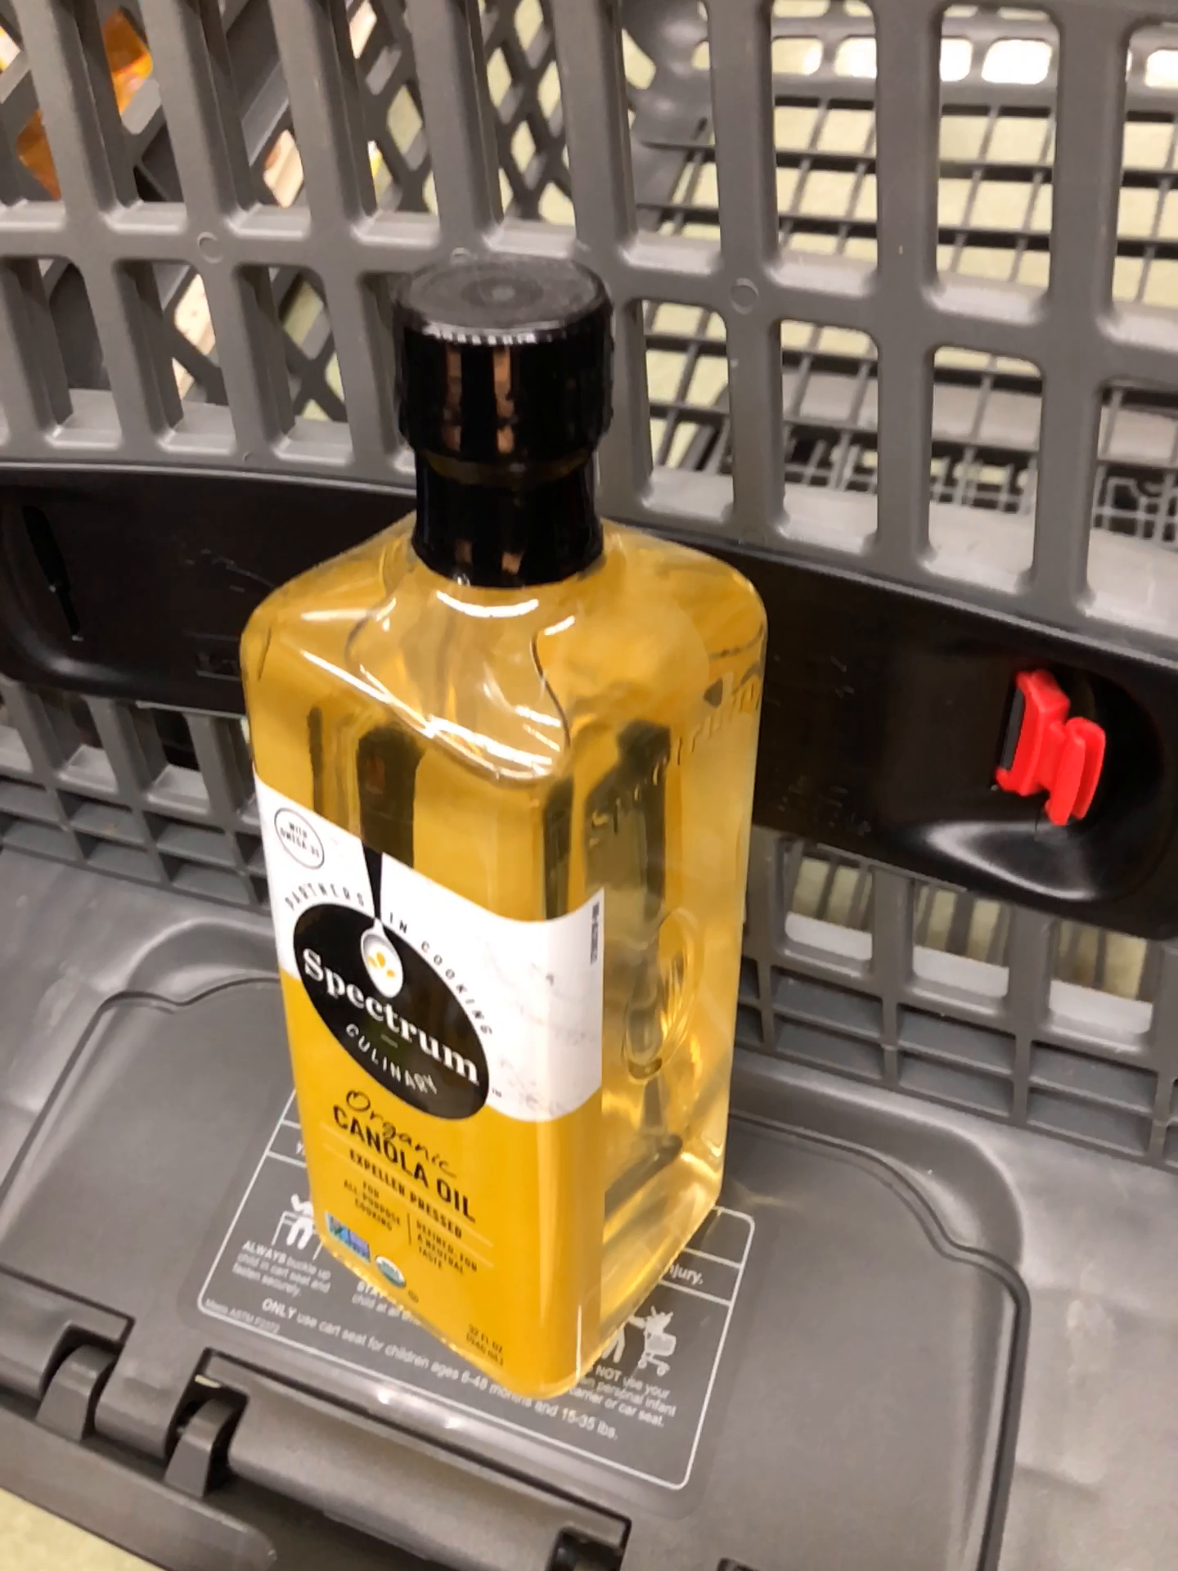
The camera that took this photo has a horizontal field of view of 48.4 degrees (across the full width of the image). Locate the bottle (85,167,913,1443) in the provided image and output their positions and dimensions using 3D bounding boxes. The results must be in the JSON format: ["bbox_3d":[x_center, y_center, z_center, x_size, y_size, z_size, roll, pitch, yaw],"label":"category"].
[{"bbox_3d":[-0.014,0.019,0.281,0.090,0.250,0.090,1,39,-1],"label":"bottle"}]
